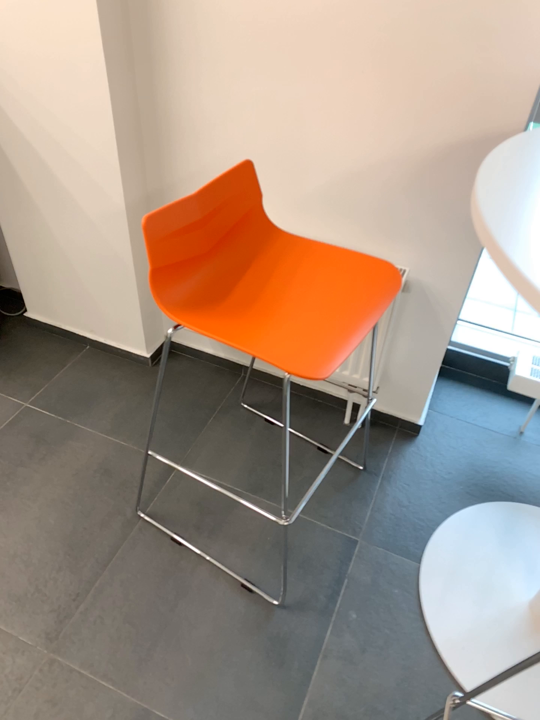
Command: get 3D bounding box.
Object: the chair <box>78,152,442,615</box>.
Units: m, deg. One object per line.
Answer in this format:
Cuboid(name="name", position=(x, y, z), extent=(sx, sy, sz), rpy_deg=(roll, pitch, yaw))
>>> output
Cuboid(name="chair", position=(-0.016, 0.070, 1.391), extent=(0.501, 0.905, 0.573), rpy_deg=(25, 45, 21))
